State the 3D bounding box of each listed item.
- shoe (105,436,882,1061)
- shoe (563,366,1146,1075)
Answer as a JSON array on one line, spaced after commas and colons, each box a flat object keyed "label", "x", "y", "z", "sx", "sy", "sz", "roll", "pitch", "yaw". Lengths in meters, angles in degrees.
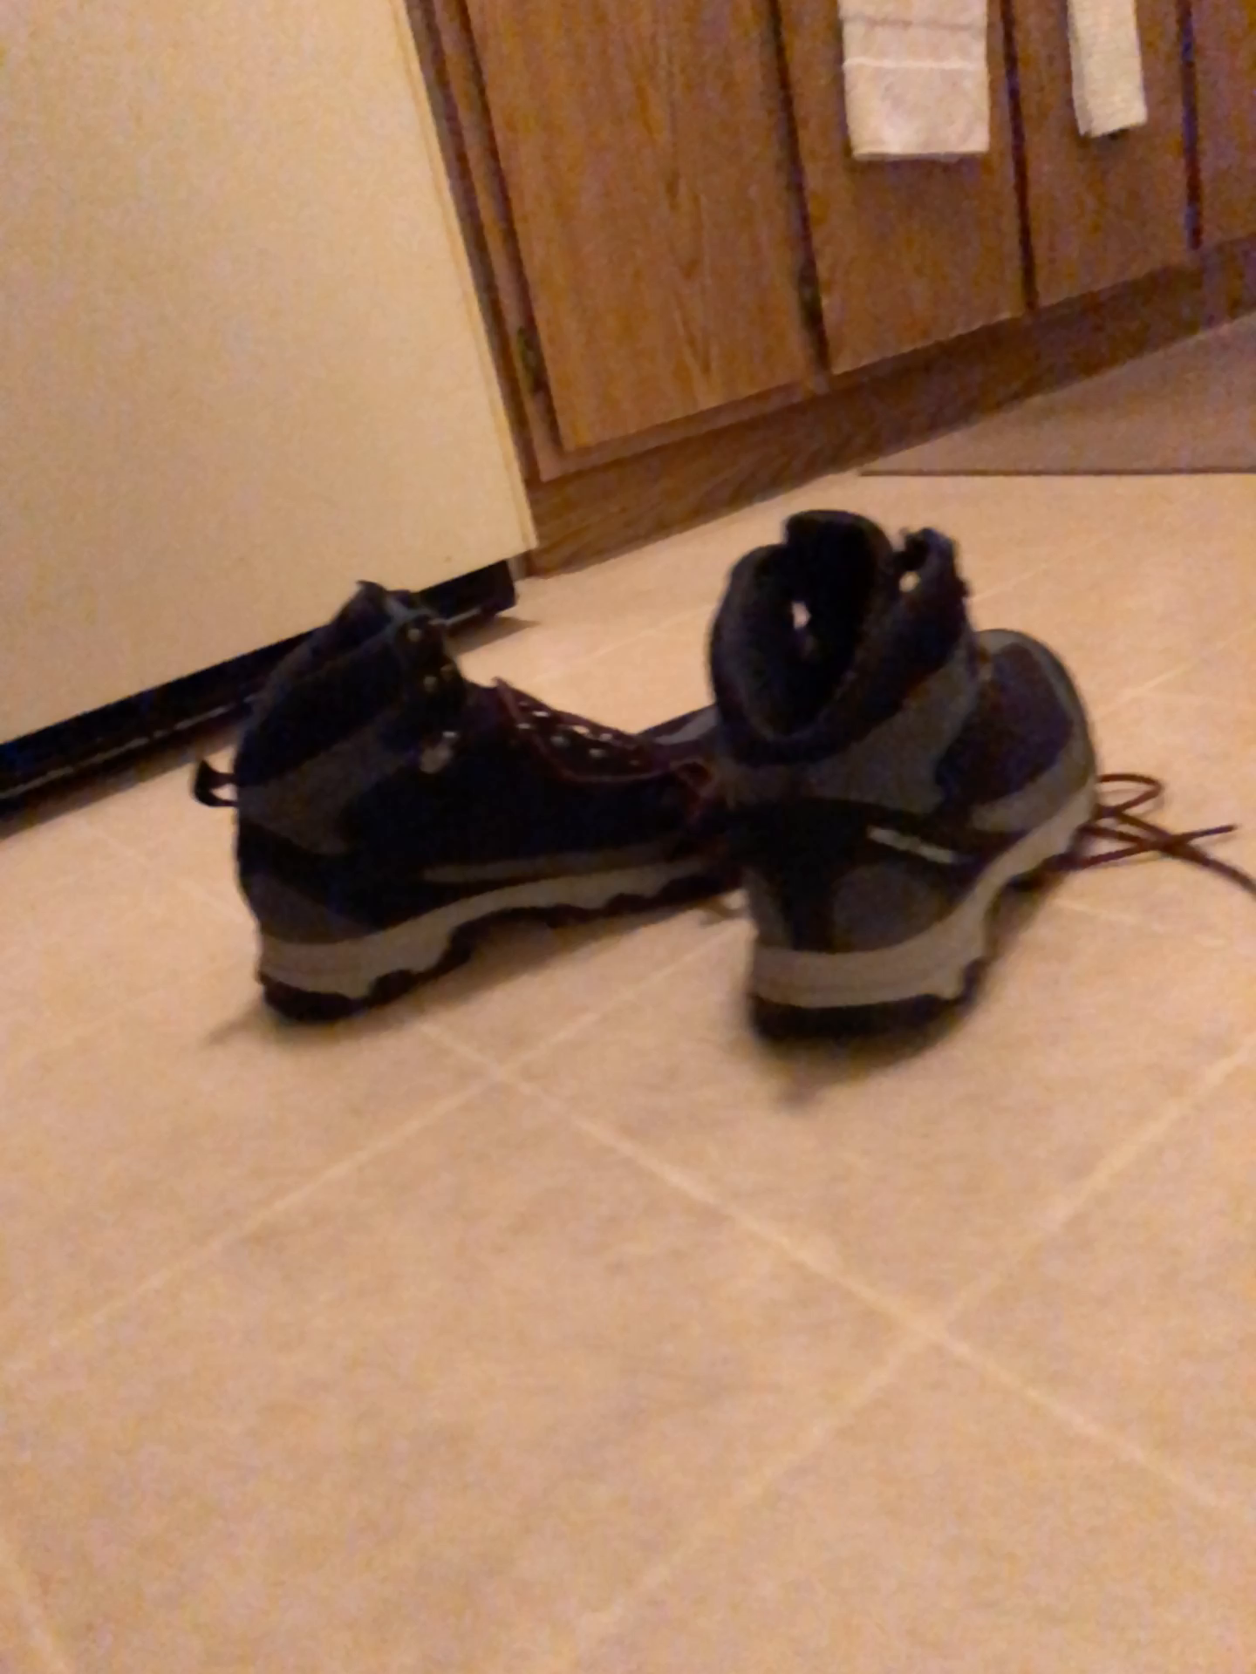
[{"label": "shoe", "x": -0.059, "y": -0.054, "z": 0.666, "sx": 0.309, "sy": 0.195, "sz": 0.127, "roll": -18, "pitch": 23, "yaw": -10}, {"label": "shoe", "x": 0.124, "y": -0.070, "z": 0.604, "sx": 0.116, "sy": 0.195, "sz": 0.300, "roll": 3, "pitch": 27, "yaw": 34}]
